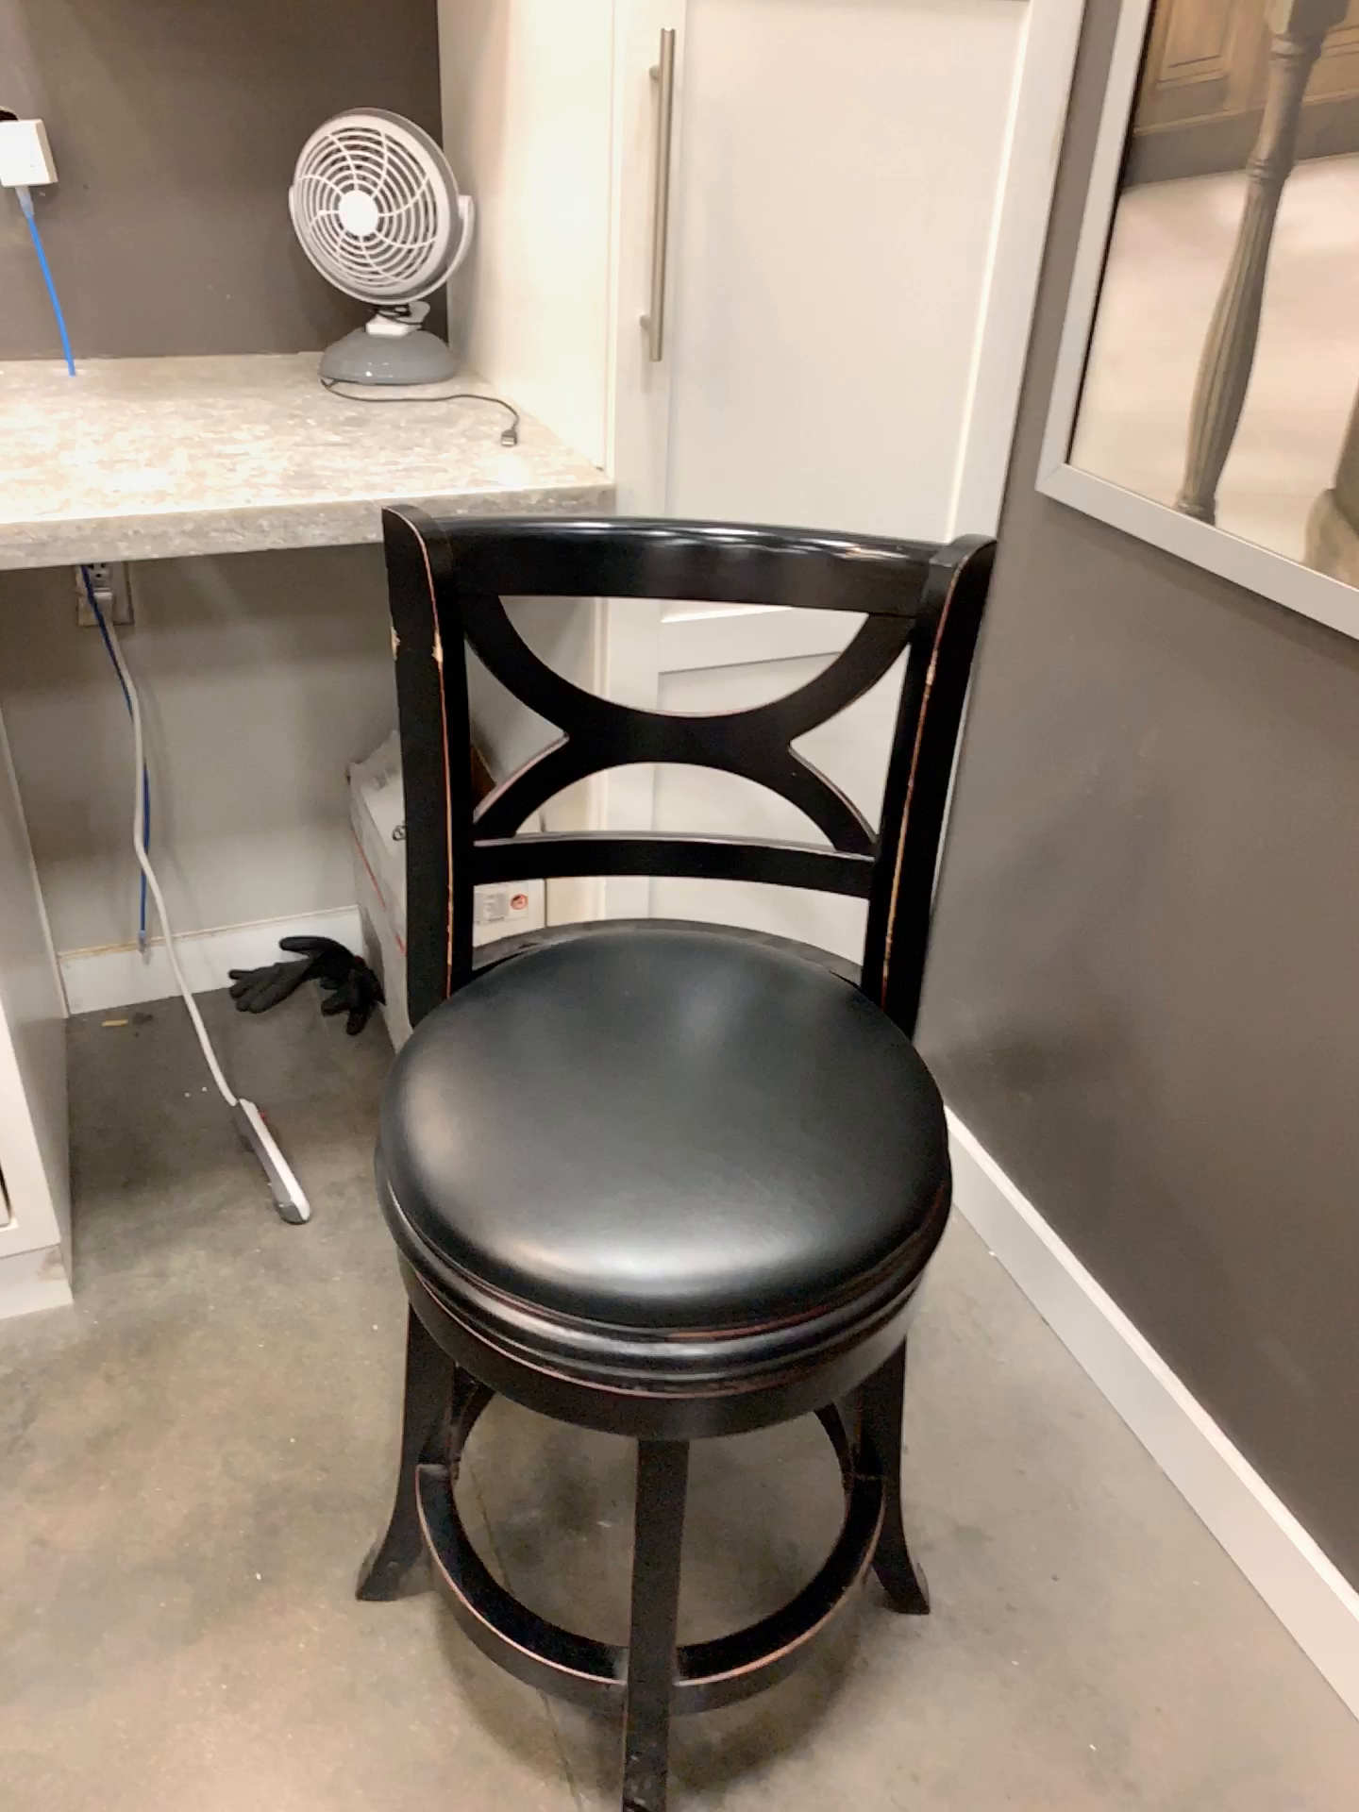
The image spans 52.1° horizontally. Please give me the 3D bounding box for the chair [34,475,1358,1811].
[{"bbox_3d":[-0.013,0.221,1.070,0.557,0.911,0.607,2,31,-3],"label":"chair"}]
